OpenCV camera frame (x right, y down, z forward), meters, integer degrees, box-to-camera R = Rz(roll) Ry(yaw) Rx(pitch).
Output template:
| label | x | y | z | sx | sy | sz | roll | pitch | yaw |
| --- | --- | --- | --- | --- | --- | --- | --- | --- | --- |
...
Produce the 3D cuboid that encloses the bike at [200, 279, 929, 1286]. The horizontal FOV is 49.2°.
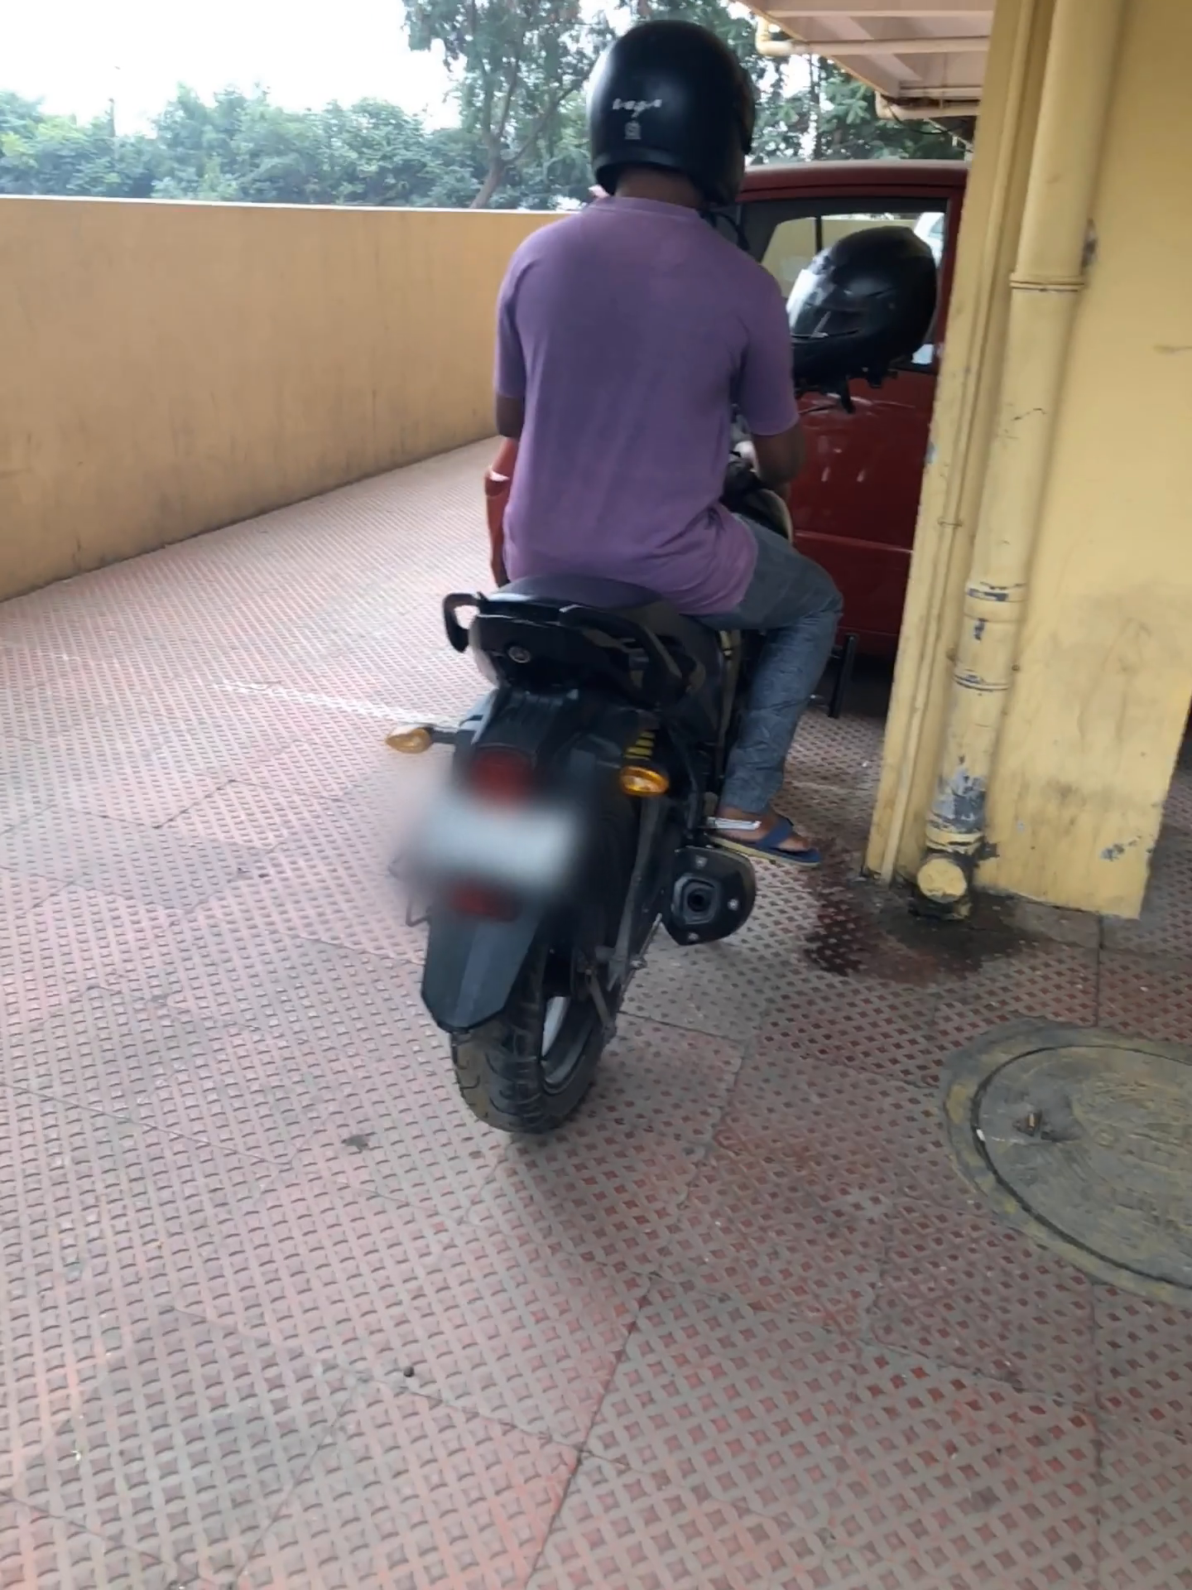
| label | x | y | z | sx | sy | sz | roll | pitch | yaw |
| --- | --- | --- | --- | --- | --- | --- | --- | --- | --- |
| bike | 0.074 | -0.293 | 2.559 | 0.852 | 1.155 | 1.917 | 7 | 26 | 8 |
